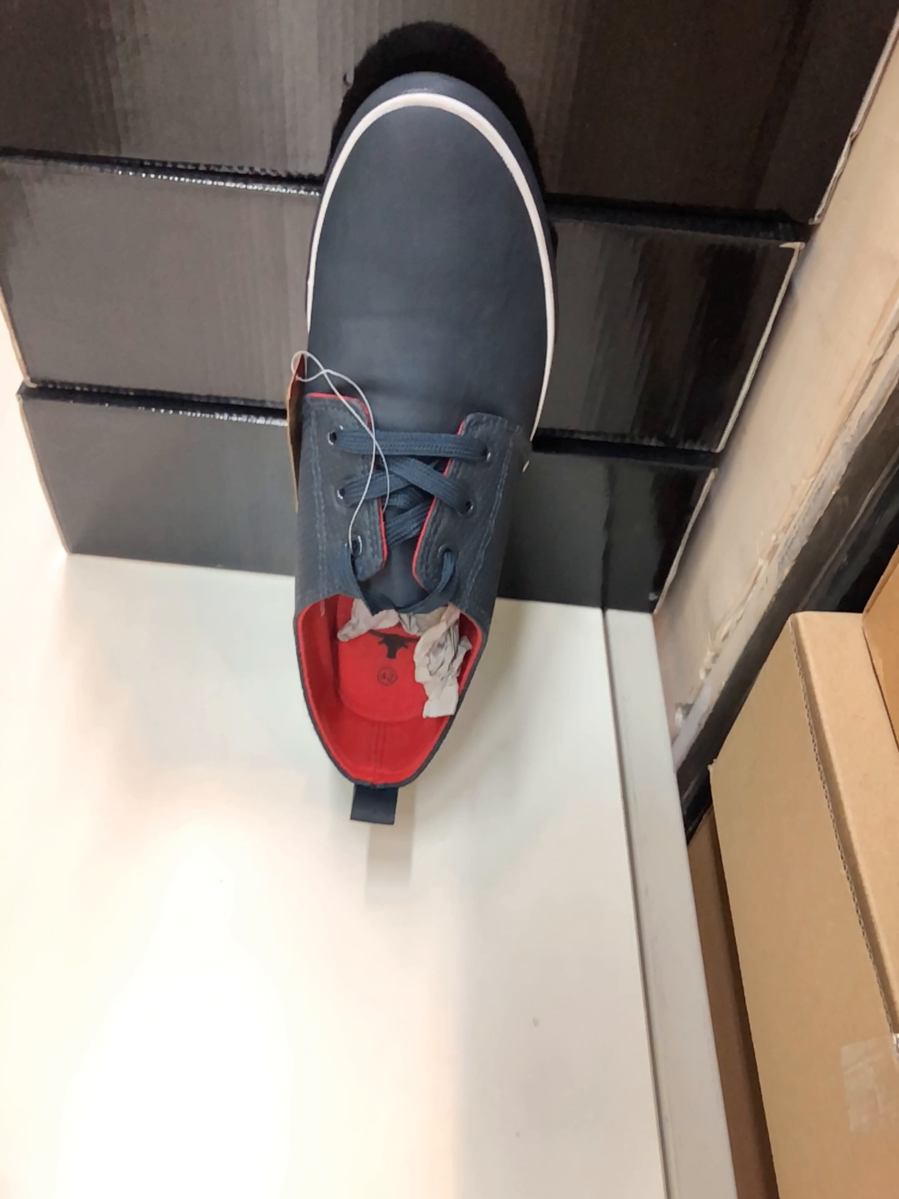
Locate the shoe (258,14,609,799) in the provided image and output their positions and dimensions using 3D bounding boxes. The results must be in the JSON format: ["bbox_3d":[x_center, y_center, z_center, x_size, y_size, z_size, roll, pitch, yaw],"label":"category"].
[{"bbox_3d":[-0.011,-0.068,0.395,0.103,0.268,0.101,7,26,3],"label":"shoe"}]
